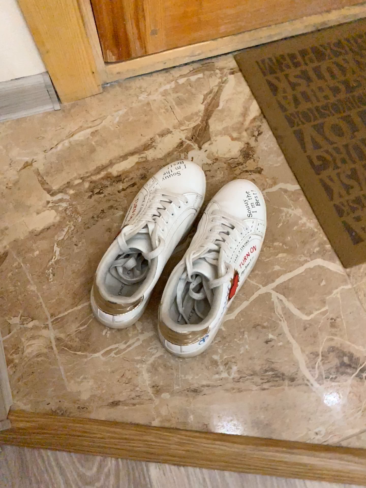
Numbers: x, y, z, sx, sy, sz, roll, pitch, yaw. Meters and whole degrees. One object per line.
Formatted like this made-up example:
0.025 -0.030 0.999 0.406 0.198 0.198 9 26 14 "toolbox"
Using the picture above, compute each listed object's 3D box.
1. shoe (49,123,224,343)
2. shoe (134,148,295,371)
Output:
-0.047 -0.018 0.479 0.092 0.080 0.256 25 71 9 "shoe"
0.044 0.017 0.476 0.092 0.080 0.256 24 71 9 "shoe"
